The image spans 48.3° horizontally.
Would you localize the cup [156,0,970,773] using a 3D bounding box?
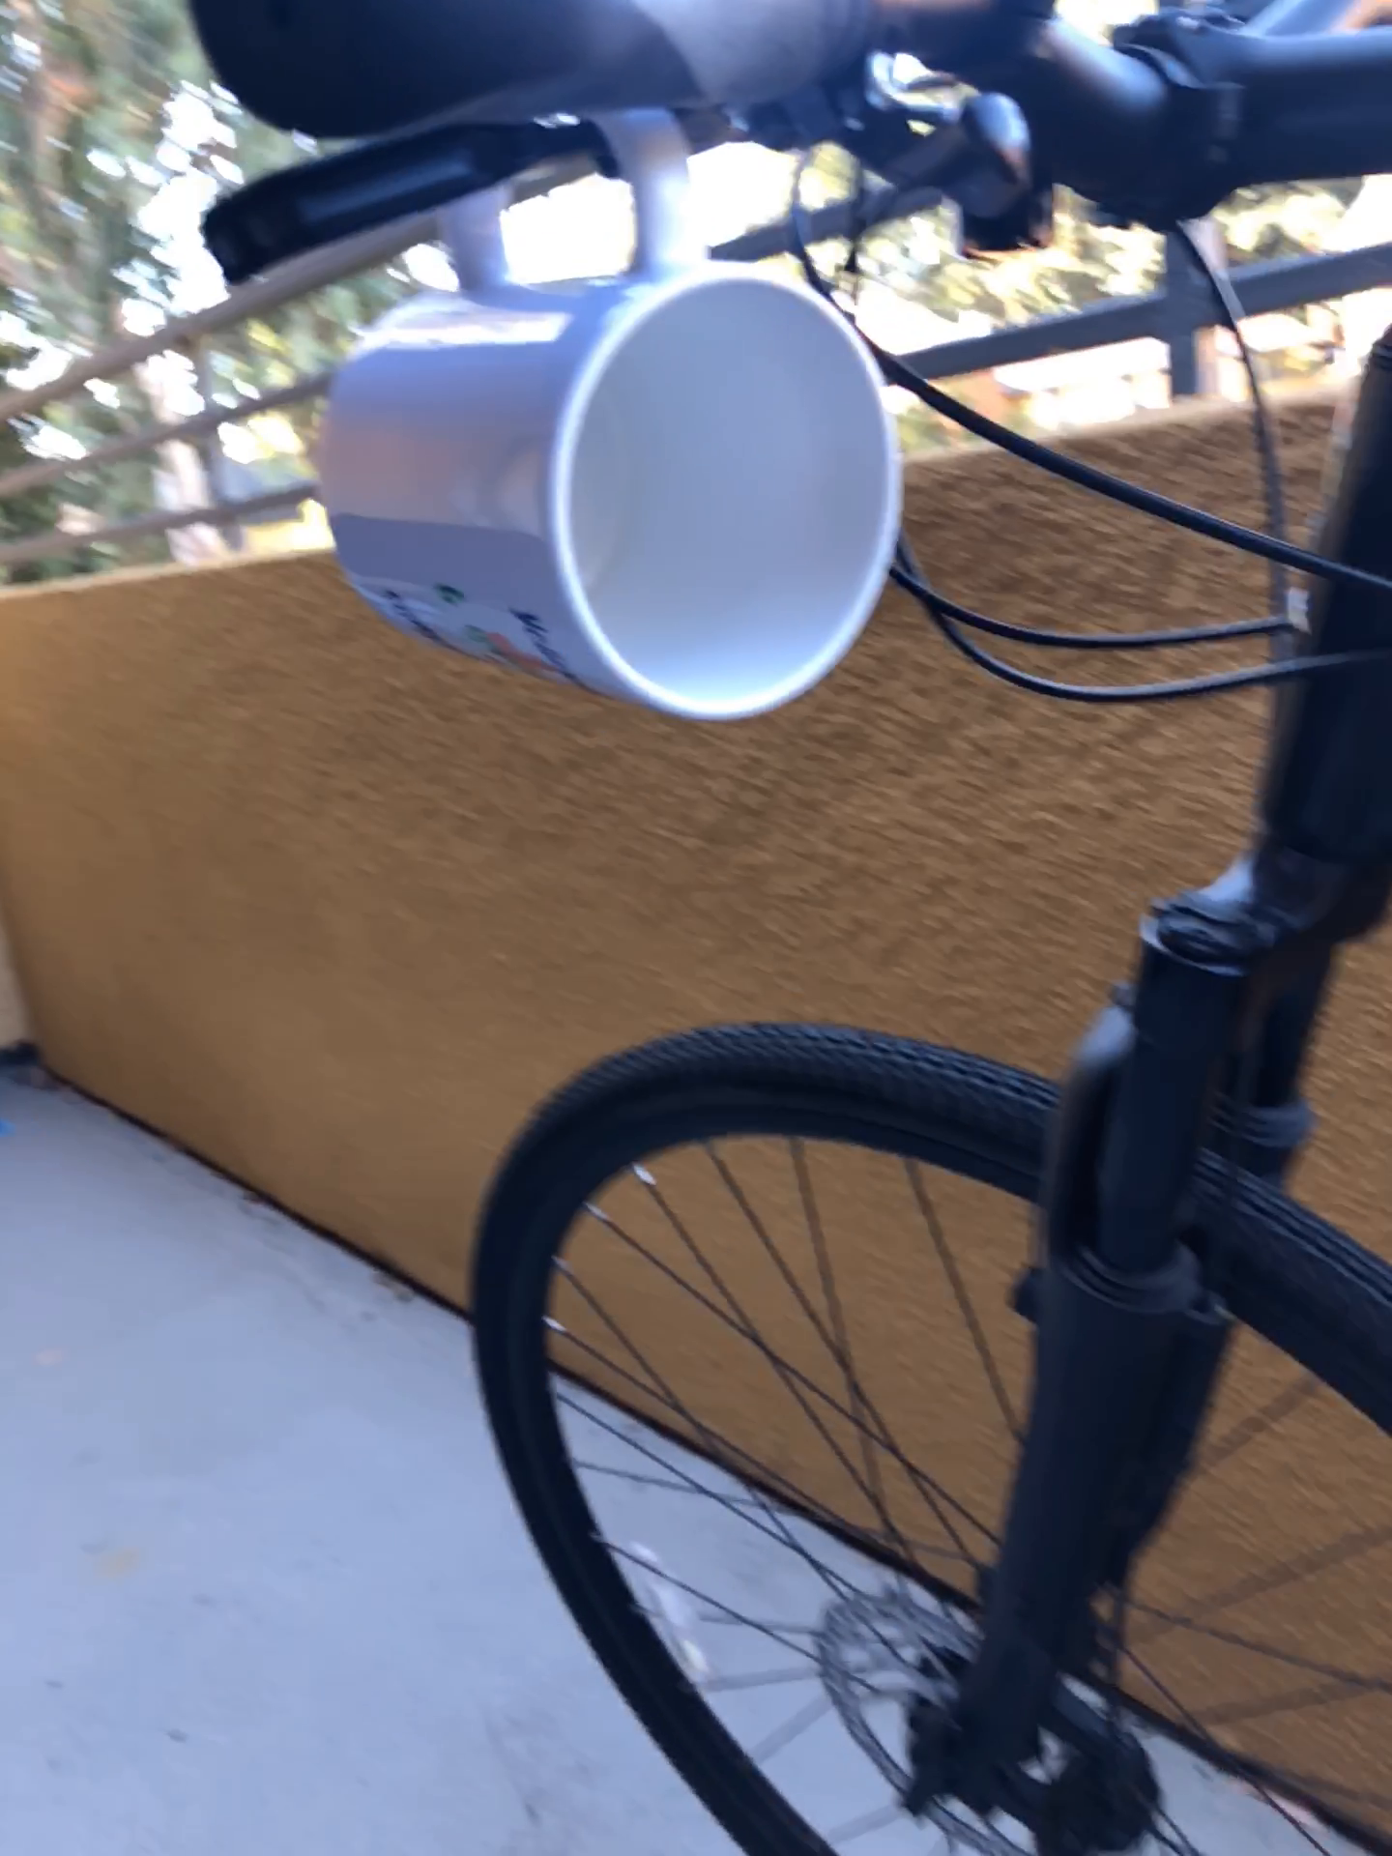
[{"bbox_3d":[-0.029,-0.109,0.303,0.090,0.119,0.121,-23,23,-25],"label":"cup"}]
